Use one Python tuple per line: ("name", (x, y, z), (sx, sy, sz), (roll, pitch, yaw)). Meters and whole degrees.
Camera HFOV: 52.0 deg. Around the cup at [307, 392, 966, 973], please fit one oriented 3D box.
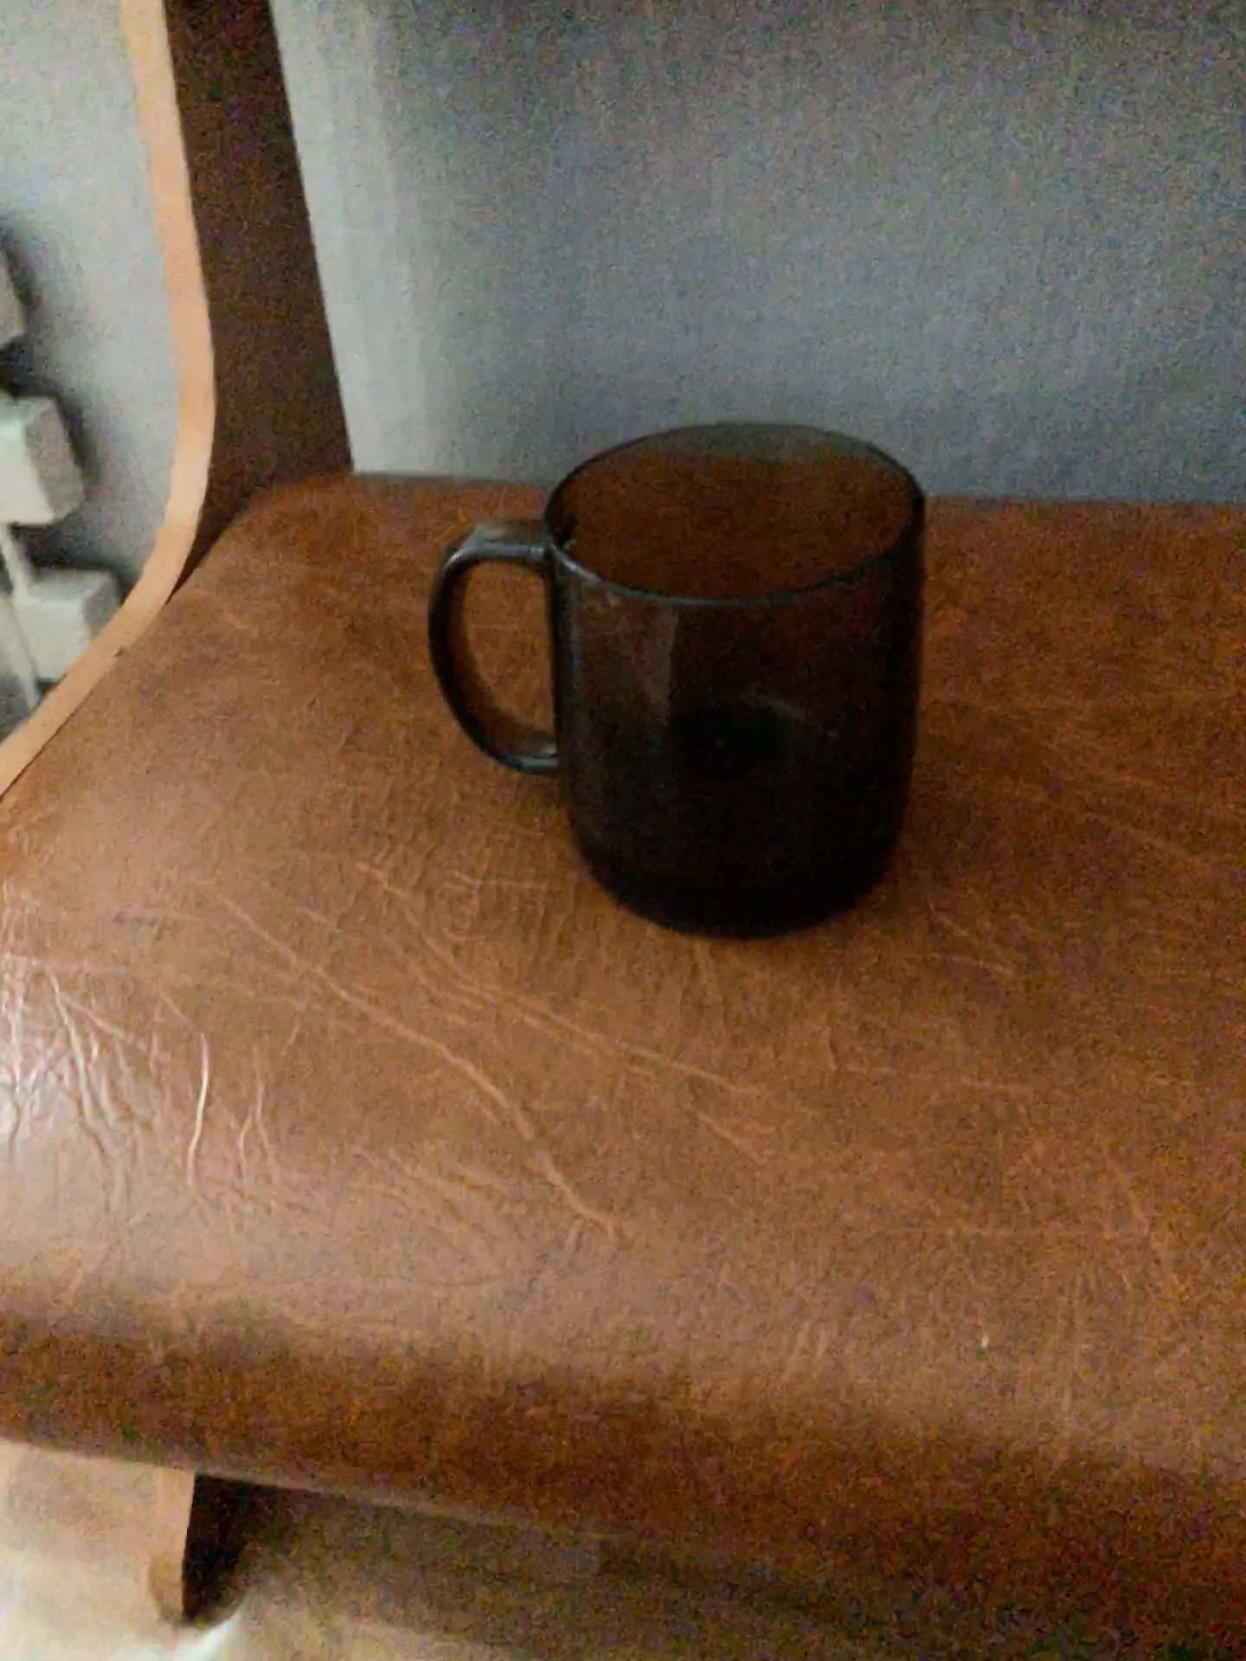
("cup", (0.008, -0.038, 0.298), (0.120, 0.089, 0.081), (10, 42, 16))
